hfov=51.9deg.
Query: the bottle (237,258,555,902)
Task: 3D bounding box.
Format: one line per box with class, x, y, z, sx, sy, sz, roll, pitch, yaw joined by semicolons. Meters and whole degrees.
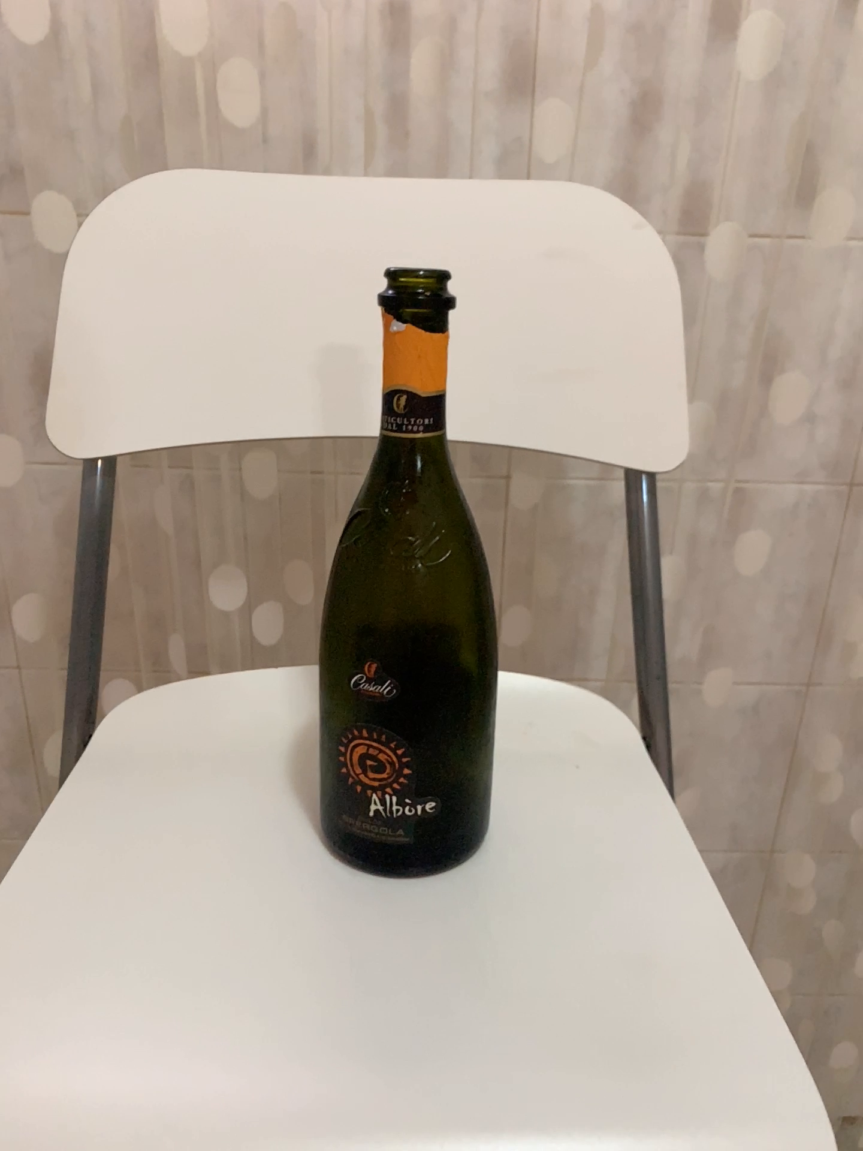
bottle;-0.014;0.001;0.409;0.101;0.269;0.093;2;23;-1
